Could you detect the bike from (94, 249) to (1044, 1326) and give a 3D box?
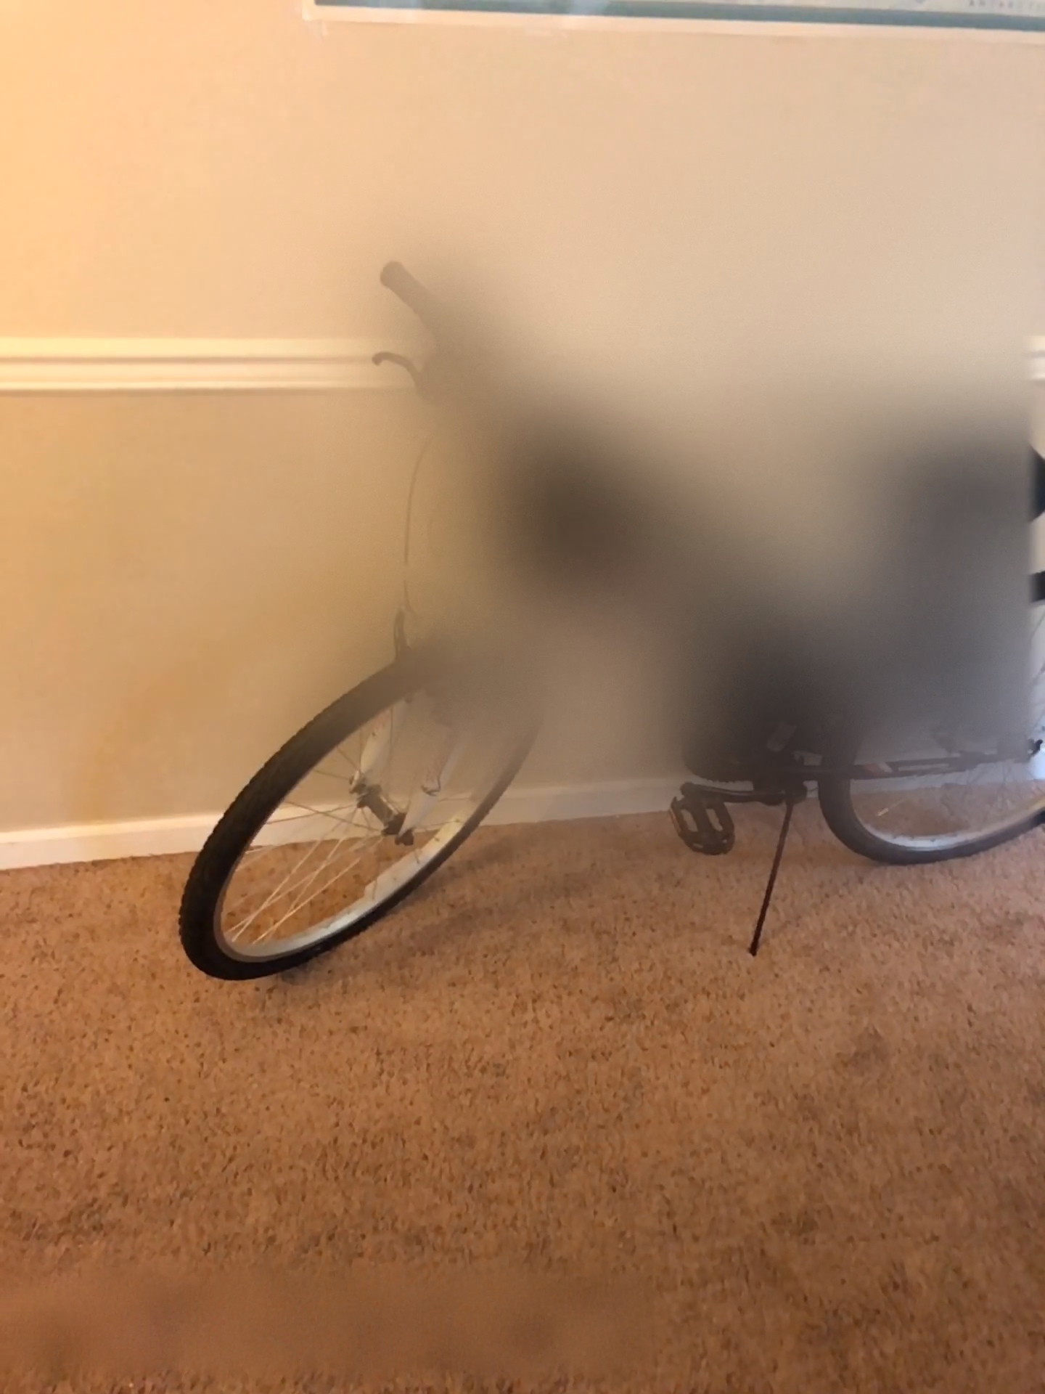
[{"bbox_3d":[0.408,0.020,1.800,1.866,1.177,0.682,-9,33,-18],"label":"bike"}]
